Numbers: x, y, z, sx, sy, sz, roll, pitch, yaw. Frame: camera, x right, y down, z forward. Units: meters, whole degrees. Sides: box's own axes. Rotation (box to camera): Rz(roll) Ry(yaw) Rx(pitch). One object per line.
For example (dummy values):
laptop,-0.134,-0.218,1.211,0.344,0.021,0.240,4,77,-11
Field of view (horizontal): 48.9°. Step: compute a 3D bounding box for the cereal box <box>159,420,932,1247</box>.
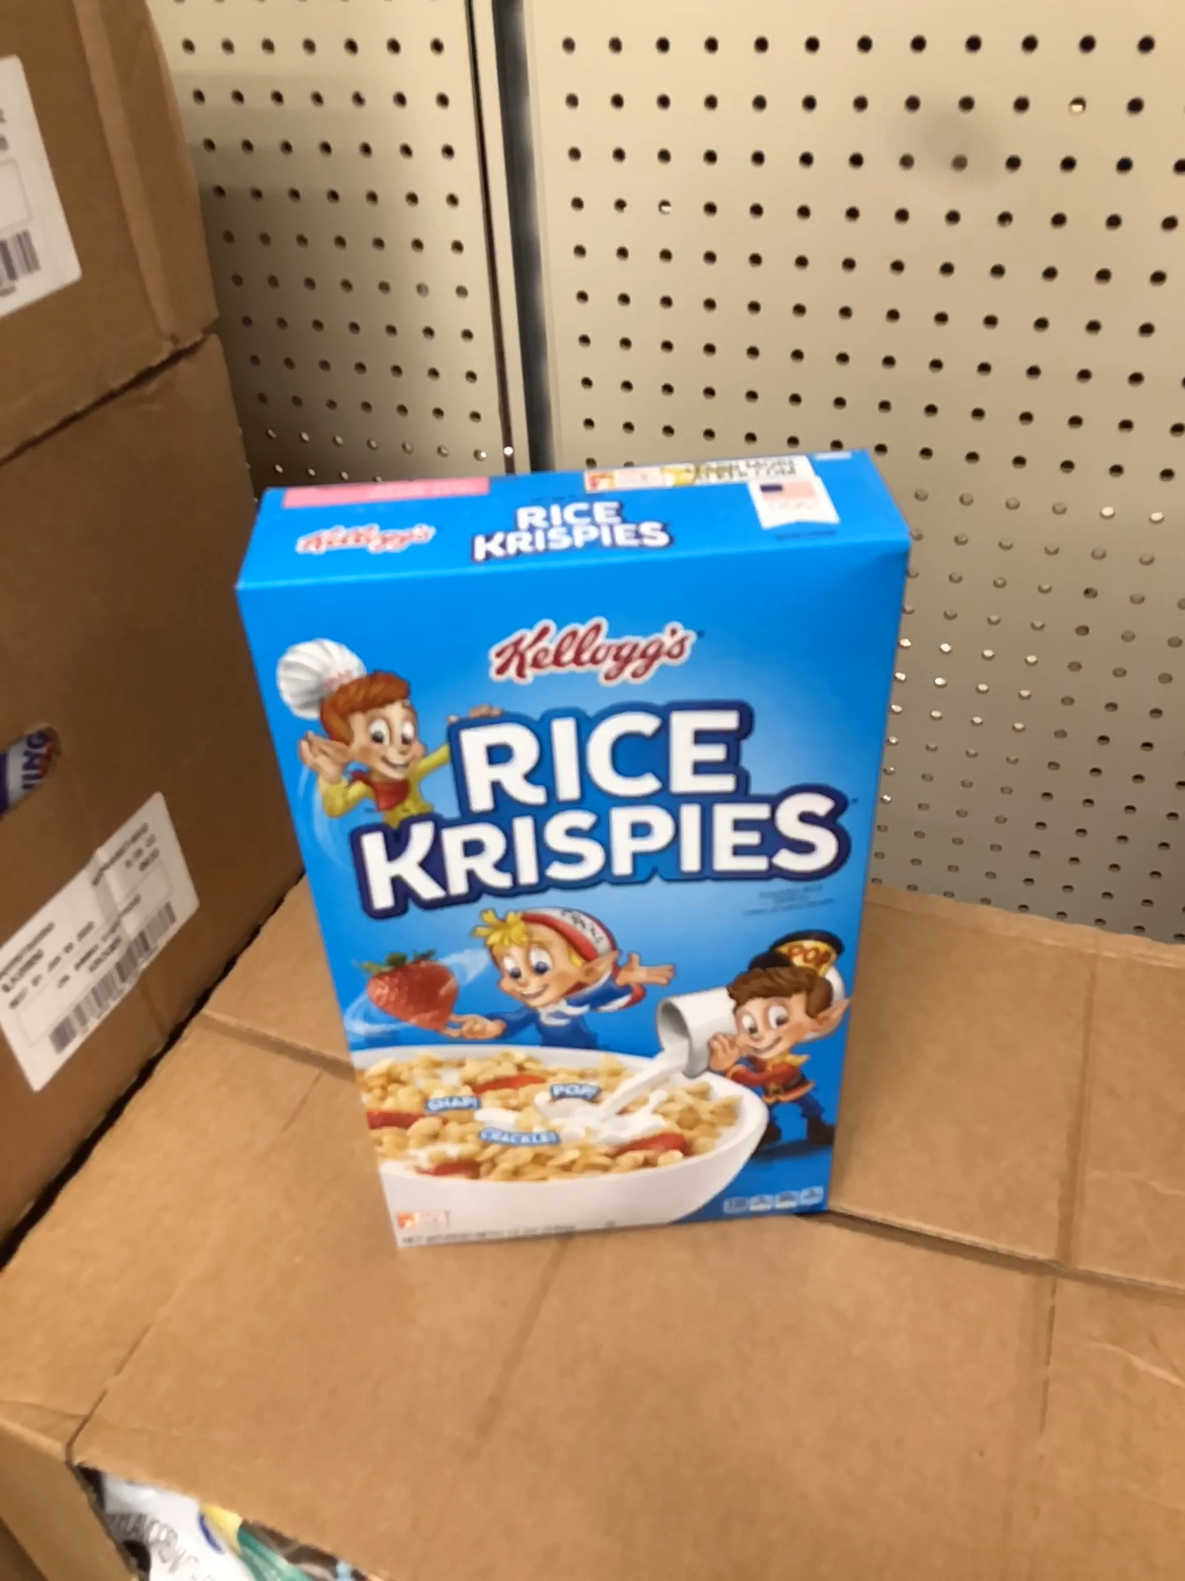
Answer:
cereal box,-0.006,0.041,0.485,0.210,0.329,0.070,-5,40,-1
